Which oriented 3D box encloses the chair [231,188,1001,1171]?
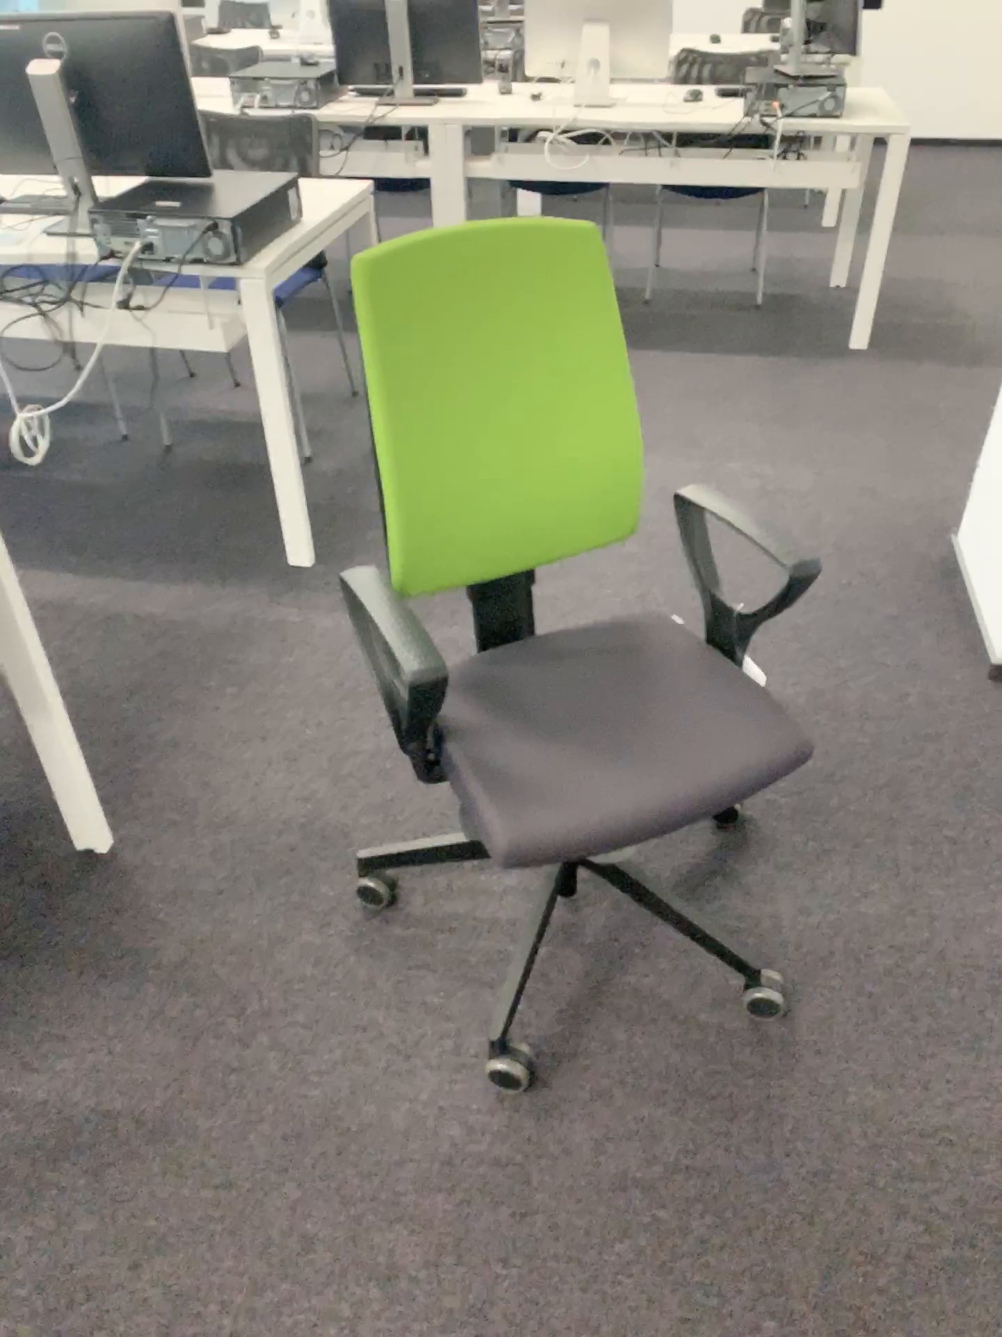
[{"bbox_3d":[0.148,-0.007,1.454,0.721,1.054,0.673,-18,41,-21],"label":"chair"}]
